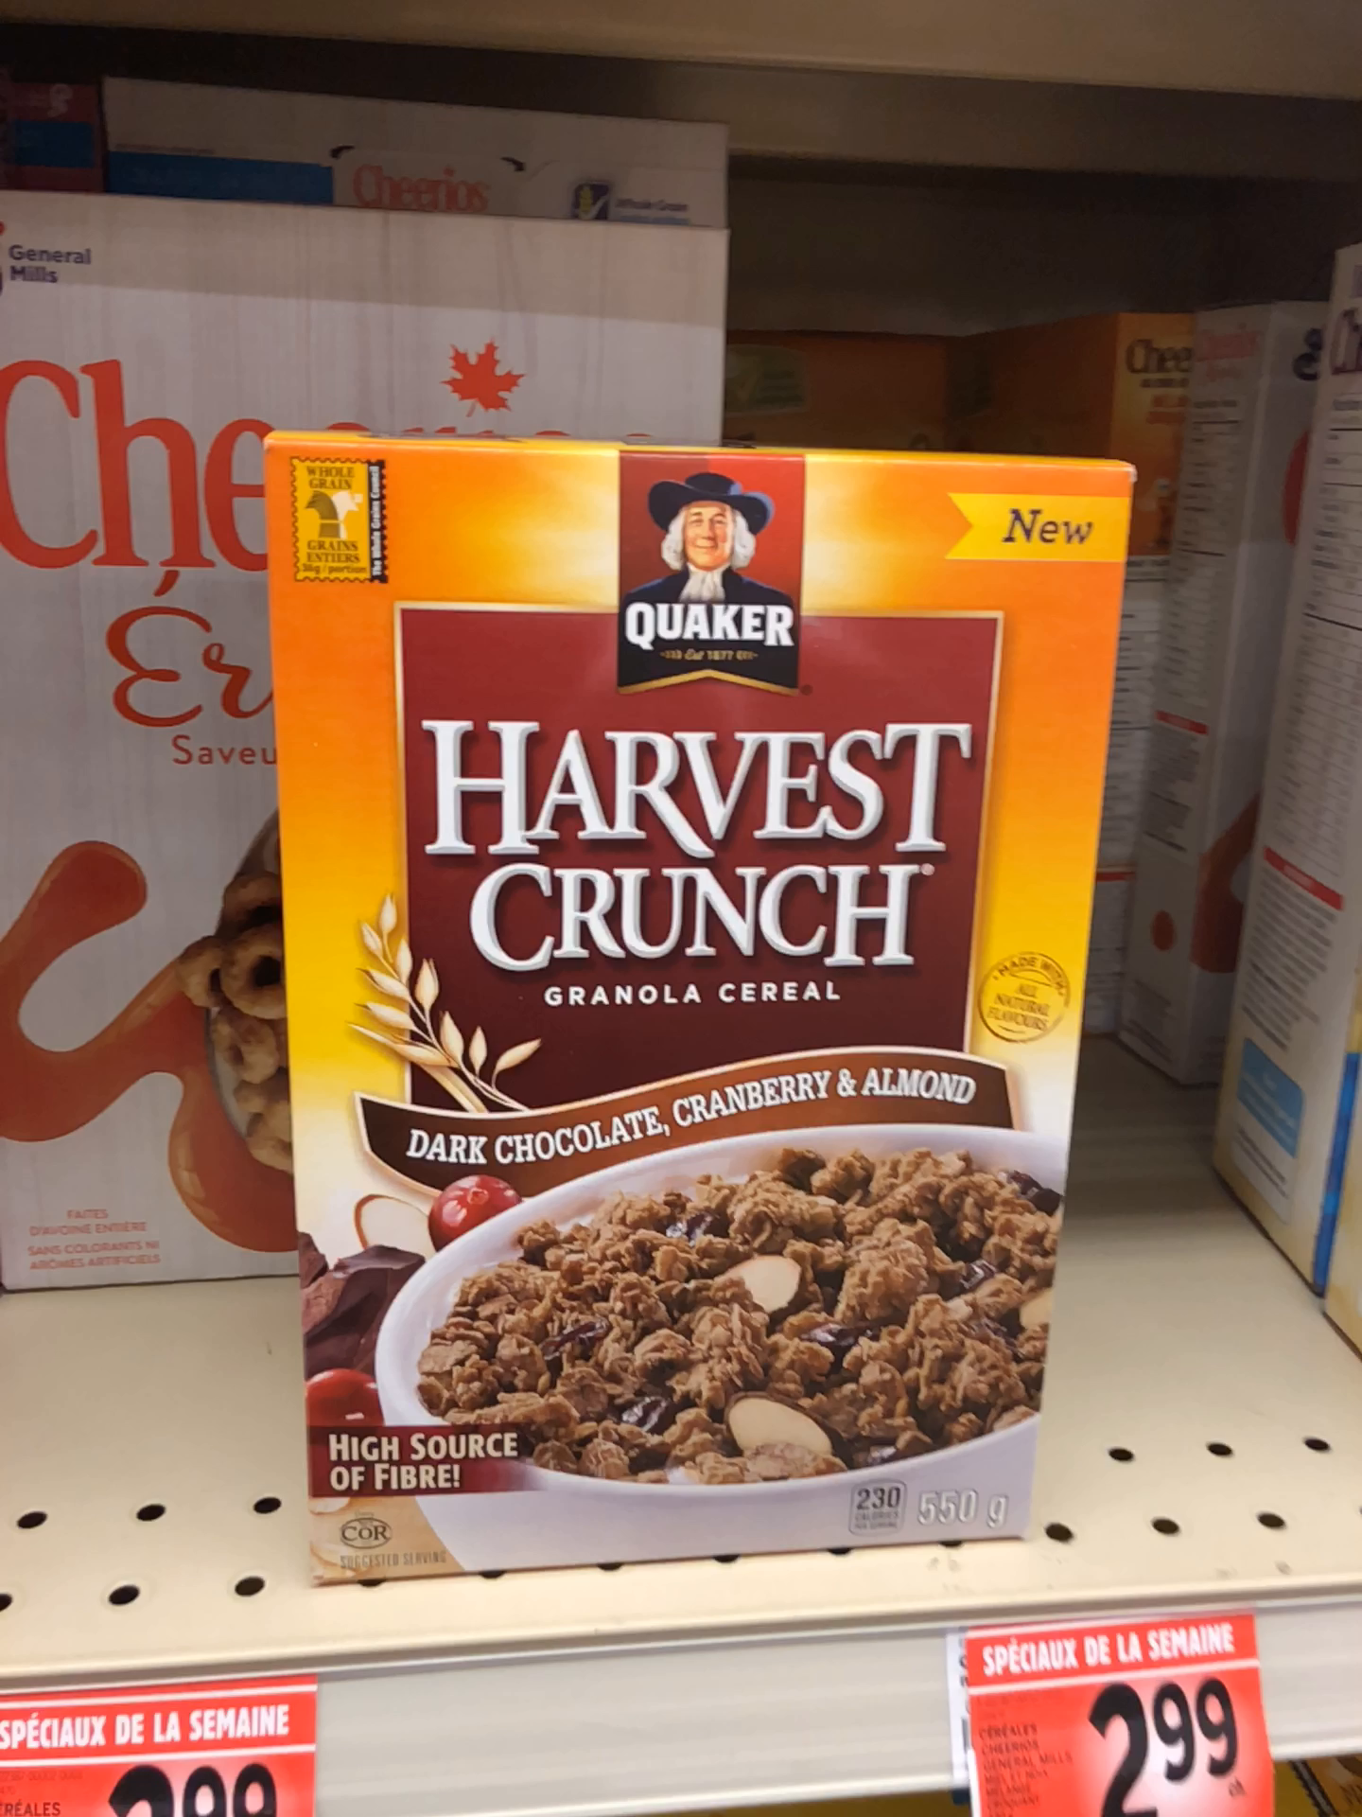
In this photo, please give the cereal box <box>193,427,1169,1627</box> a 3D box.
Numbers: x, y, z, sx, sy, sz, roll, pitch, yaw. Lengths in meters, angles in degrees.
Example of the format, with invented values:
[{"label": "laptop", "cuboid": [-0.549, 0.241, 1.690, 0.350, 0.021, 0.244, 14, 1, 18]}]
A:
[{"label": "cereal box", "cuboid": [-0.003, 0.026, 0.321, 0.170, 0.239, 0.060, 0, 16, -7]}]
